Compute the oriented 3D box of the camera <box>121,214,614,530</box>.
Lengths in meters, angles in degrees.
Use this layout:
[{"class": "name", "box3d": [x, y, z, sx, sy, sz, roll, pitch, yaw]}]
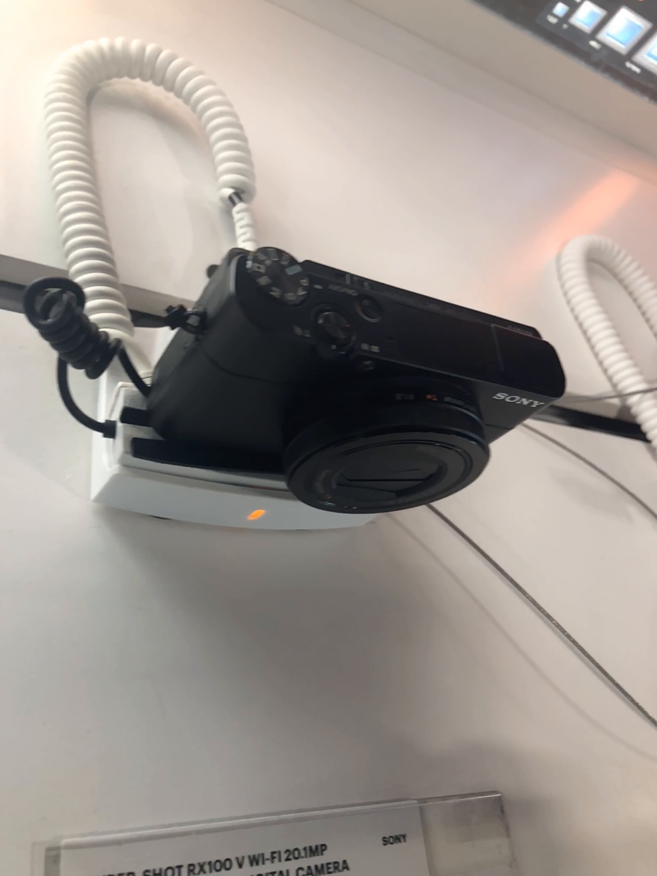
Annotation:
[{"class": "camera", "box3d": [0.008, -0.008, 0.183, 0.101, 0.063, 0.032, 10, 58, -29]}]
